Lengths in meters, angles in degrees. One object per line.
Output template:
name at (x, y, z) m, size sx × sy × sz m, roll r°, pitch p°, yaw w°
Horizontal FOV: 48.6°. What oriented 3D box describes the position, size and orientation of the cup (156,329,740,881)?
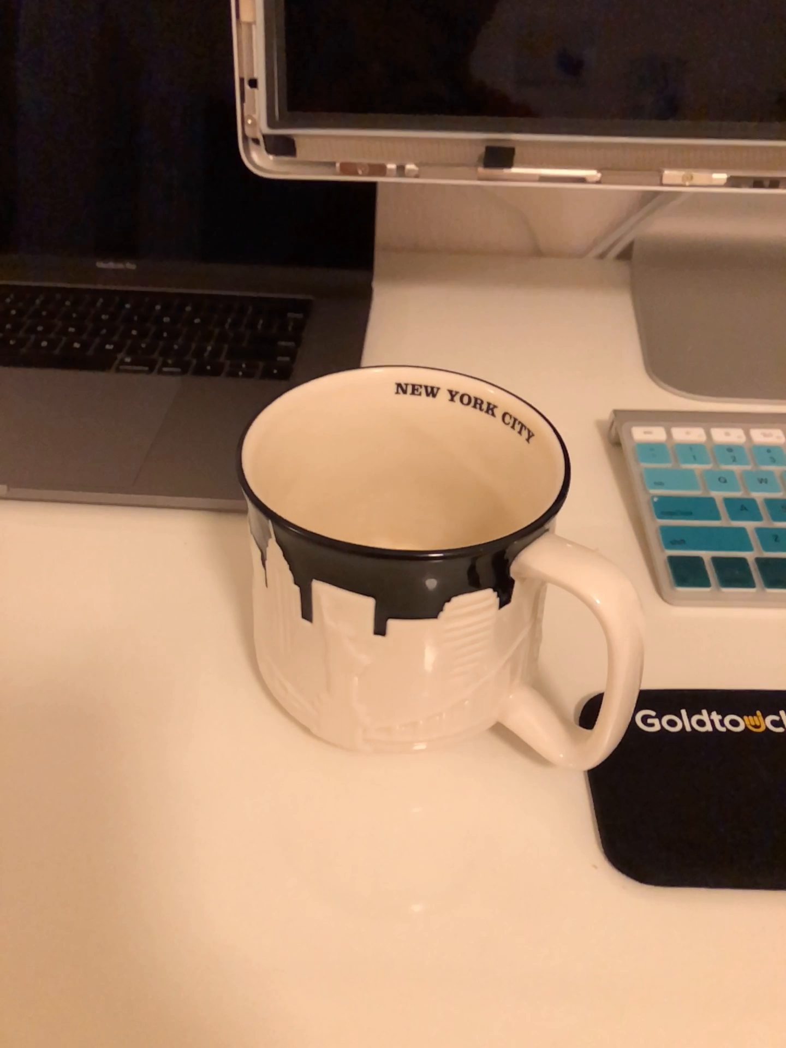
cup at (0.019, 0.016, 0.290) m, size 0.140 × 0.089 × 0.111 m, roll 22°, pitch 44°, yaw 22°
